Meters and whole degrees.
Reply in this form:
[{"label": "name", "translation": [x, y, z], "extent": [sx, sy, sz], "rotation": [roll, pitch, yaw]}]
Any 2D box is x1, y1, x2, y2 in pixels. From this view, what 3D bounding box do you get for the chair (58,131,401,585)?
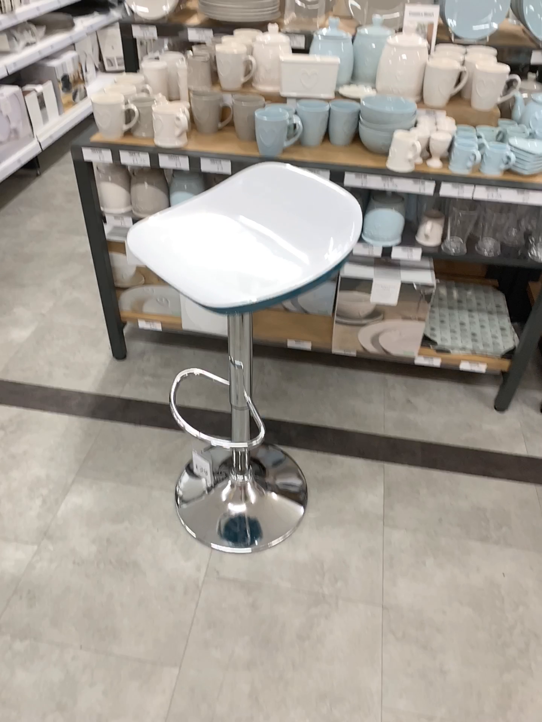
[{"label": "chair", "translation": [-0.088, 0.008, 1.256], "extent": [0.422, 0.825, 0.457], "rotation": [-29, 50, -30]}]
